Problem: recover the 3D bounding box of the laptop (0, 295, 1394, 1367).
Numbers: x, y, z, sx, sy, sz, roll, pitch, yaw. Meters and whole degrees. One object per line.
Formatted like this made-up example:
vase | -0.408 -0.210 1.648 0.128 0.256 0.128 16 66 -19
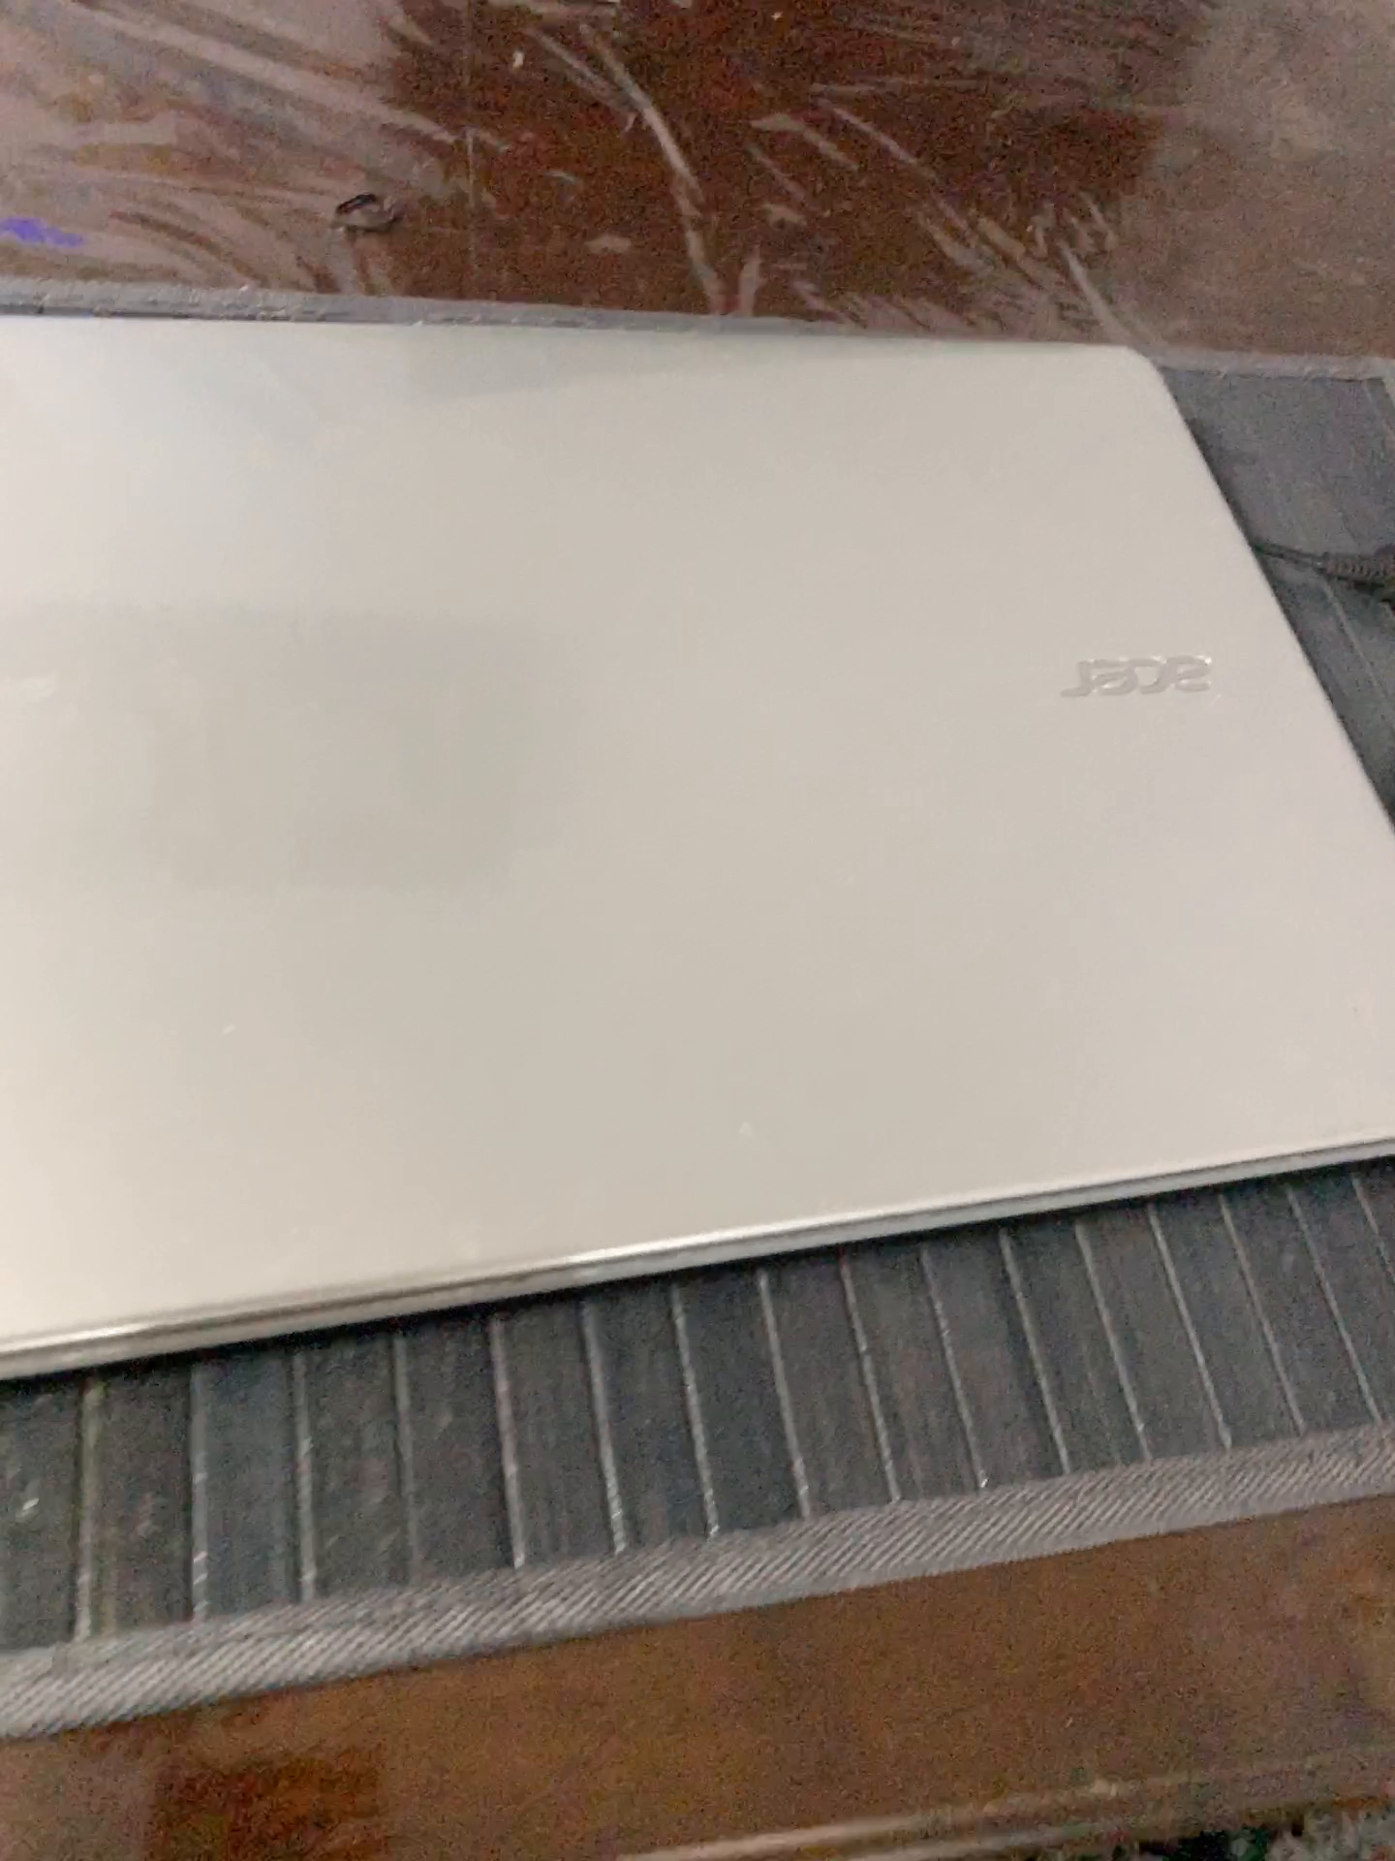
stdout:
laptop | -0.014 -0.048 0.304 0.335 0.002 0.224 -5 62 -17
